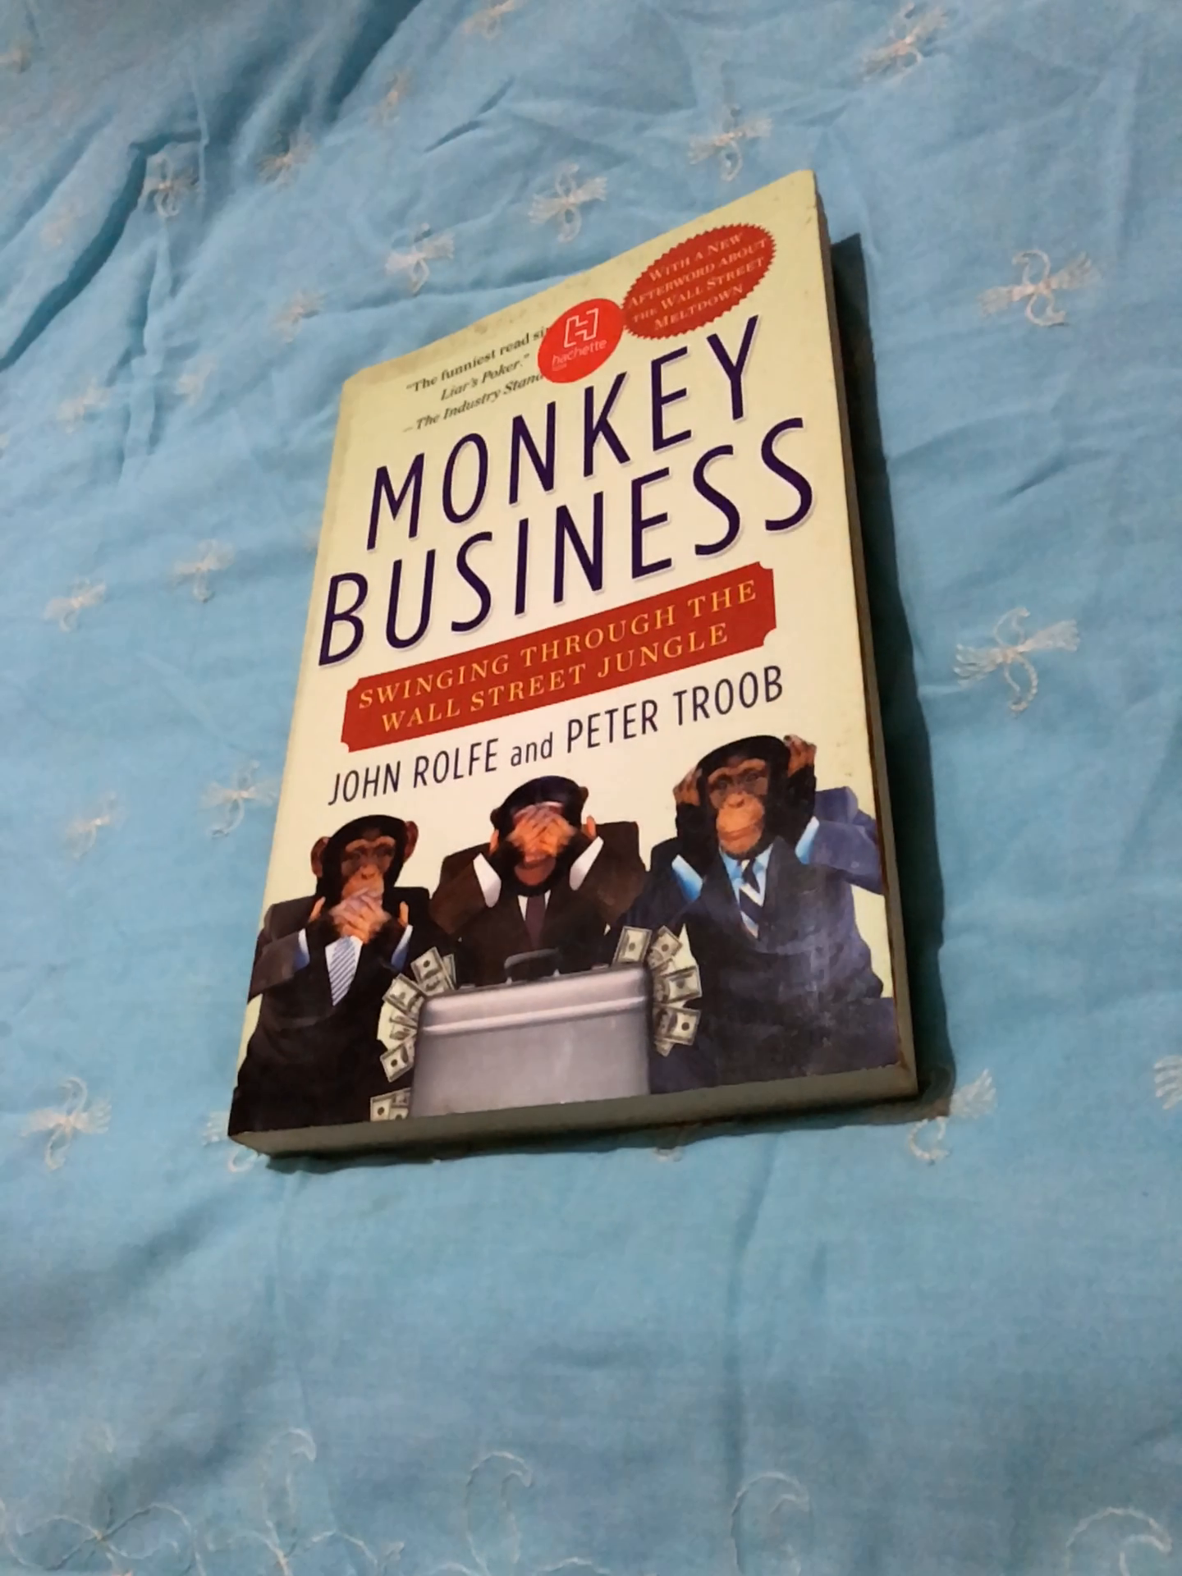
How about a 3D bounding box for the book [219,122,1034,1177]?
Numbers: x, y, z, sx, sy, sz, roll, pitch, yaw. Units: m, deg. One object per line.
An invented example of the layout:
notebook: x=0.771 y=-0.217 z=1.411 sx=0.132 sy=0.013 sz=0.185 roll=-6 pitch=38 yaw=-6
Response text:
book: x=0.001 y=-0.037 z=0.331 sx=0.170 sy=0.040 sz=0.240 roll=-14 pitch=59 yaw=25
